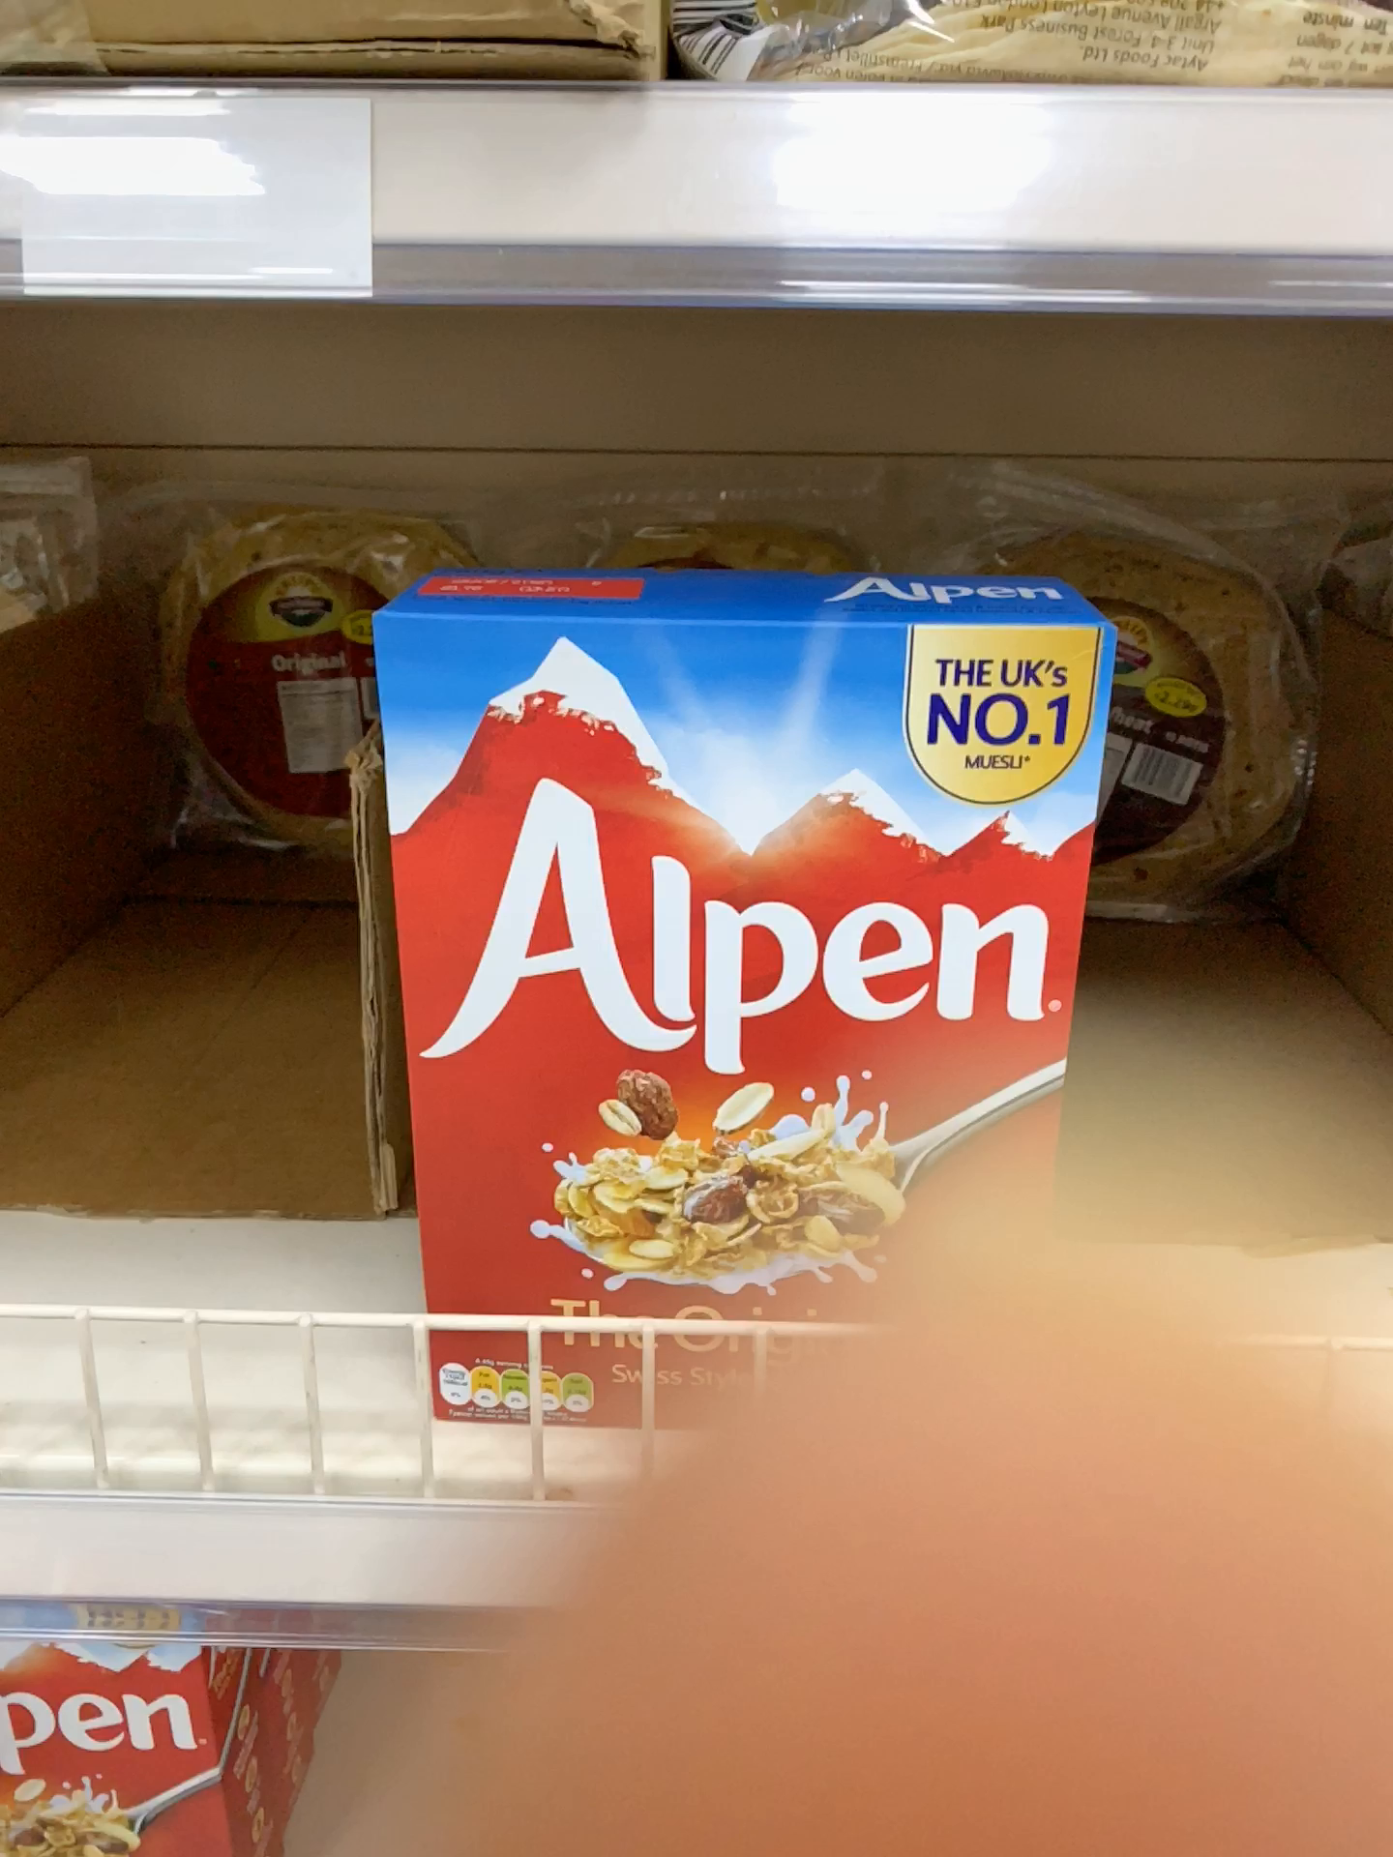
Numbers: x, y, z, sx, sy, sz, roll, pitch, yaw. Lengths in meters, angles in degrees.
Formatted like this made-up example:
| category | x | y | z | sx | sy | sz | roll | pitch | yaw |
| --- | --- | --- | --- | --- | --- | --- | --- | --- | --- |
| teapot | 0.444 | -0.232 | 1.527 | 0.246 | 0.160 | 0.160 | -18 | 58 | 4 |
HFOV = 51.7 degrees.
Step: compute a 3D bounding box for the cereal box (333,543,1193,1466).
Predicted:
| category | x | y | z | sx | sy | sz | roll | pitch | yaw |
| --- | --- | --- | --- | --- | --- | --- | --- | --- | --- |
| cereal box | 0.014 | 0.023 | 0.391 | 0.190 | 0.238 | 0.070 | 1 | 20 | 1 |
